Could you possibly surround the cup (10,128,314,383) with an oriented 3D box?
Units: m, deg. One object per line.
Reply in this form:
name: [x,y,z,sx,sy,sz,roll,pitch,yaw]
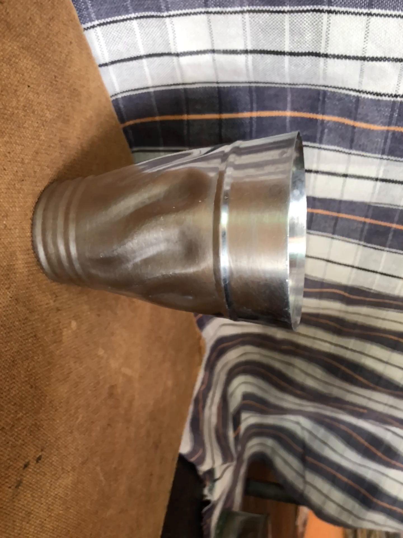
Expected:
cup: [-0.005,-0.012,0.197,0.080,0.099,0.080,1,90,-74]
